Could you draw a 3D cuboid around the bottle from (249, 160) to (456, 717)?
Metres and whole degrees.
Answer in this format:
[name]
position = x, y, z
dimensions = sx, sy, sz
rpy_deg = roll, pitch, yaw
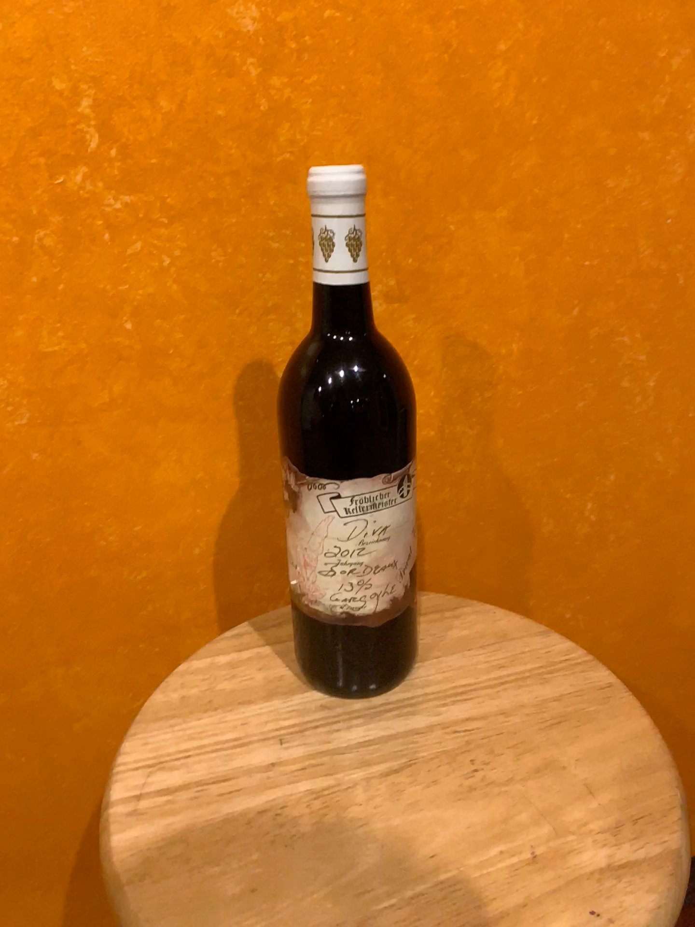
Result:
[bottle]
position = 0.004, -0.007, 0.392
dimensions = 0.080, 0.289, 0.070
rpy_deg = -8, 24, -14
